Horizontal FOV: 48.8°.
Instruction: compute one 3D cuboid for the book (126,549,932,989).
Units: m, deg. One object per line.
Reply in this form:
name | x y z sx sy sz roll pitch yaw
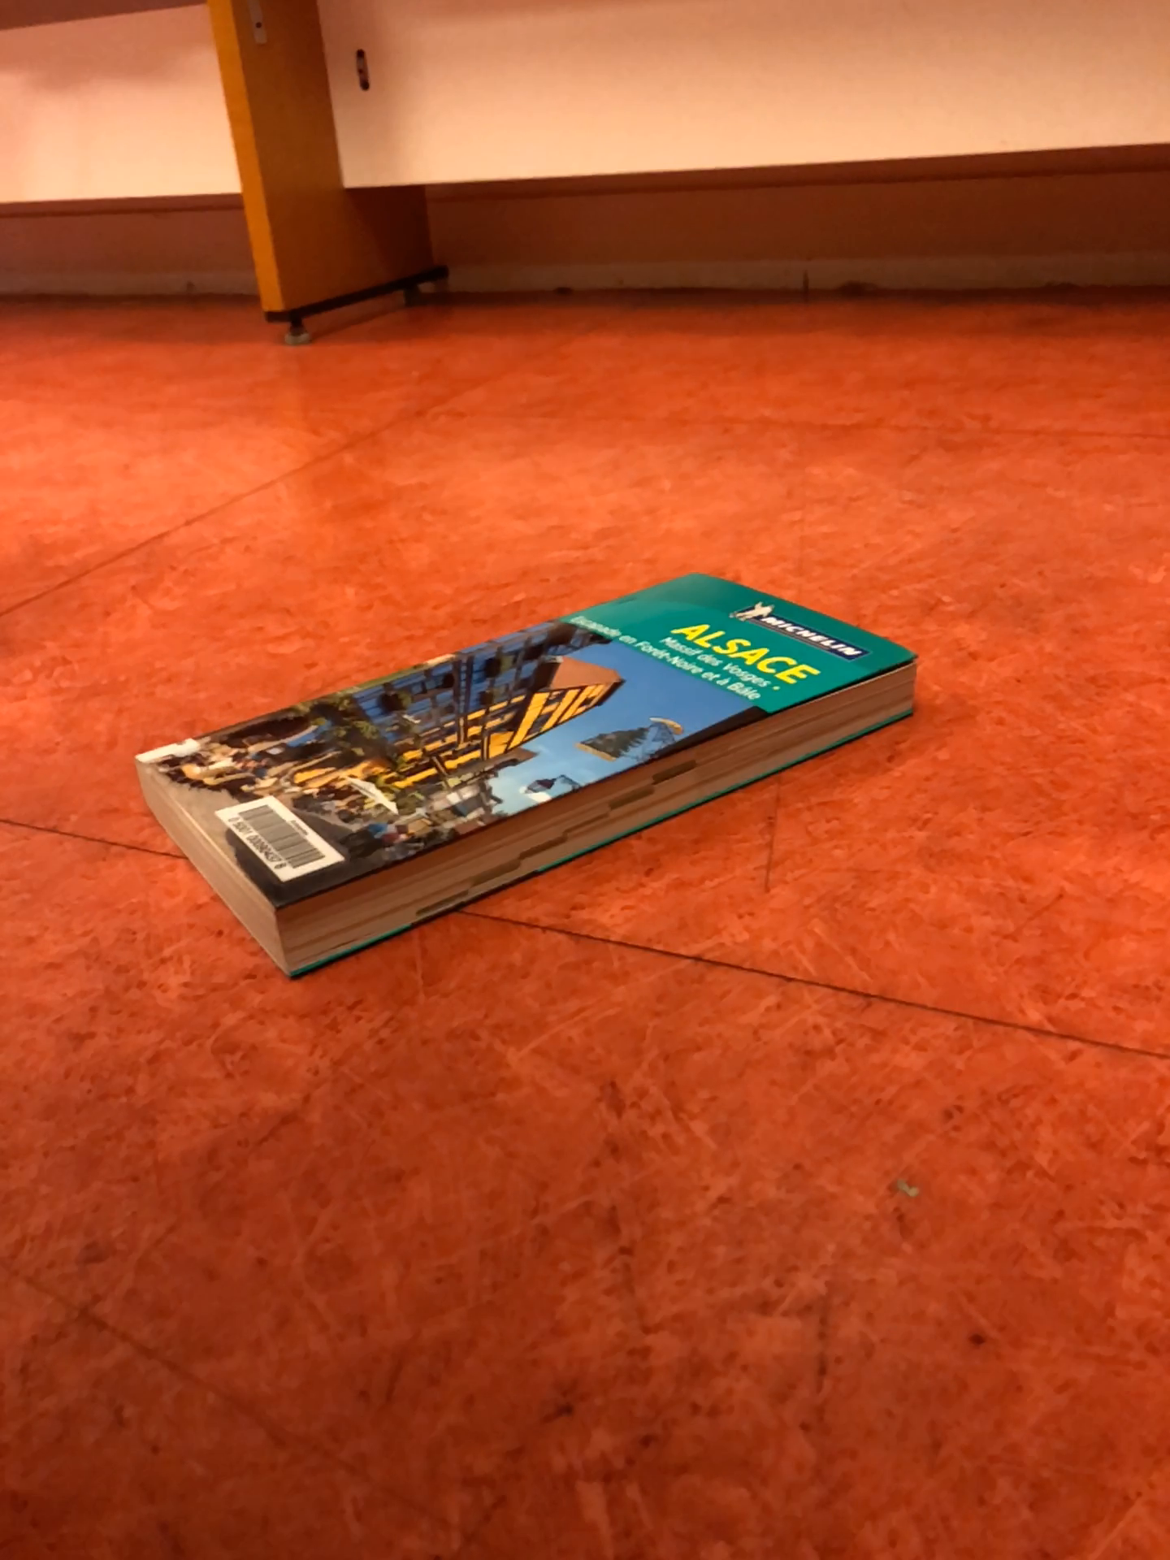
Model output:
book | -0.014 -0.018 0.392 0.213 0.030 0.116 -21 32 -28
